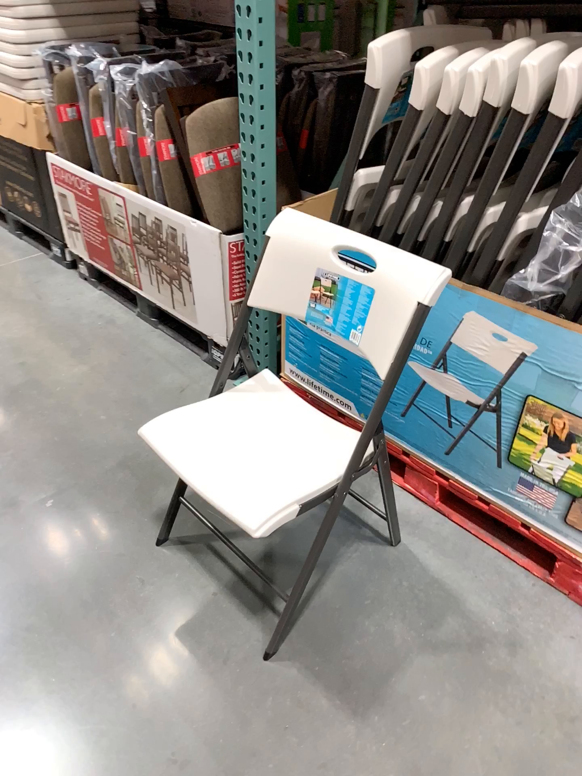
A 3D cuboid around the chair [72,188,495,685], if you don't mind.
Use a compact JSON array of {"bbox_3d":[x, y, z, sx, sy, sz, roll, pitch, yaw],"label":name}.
[{"bbox_3d":[-0.019,0.076,1.369,0.575,0.806,0.567,-30,46,-35],"label":"chair"}]
